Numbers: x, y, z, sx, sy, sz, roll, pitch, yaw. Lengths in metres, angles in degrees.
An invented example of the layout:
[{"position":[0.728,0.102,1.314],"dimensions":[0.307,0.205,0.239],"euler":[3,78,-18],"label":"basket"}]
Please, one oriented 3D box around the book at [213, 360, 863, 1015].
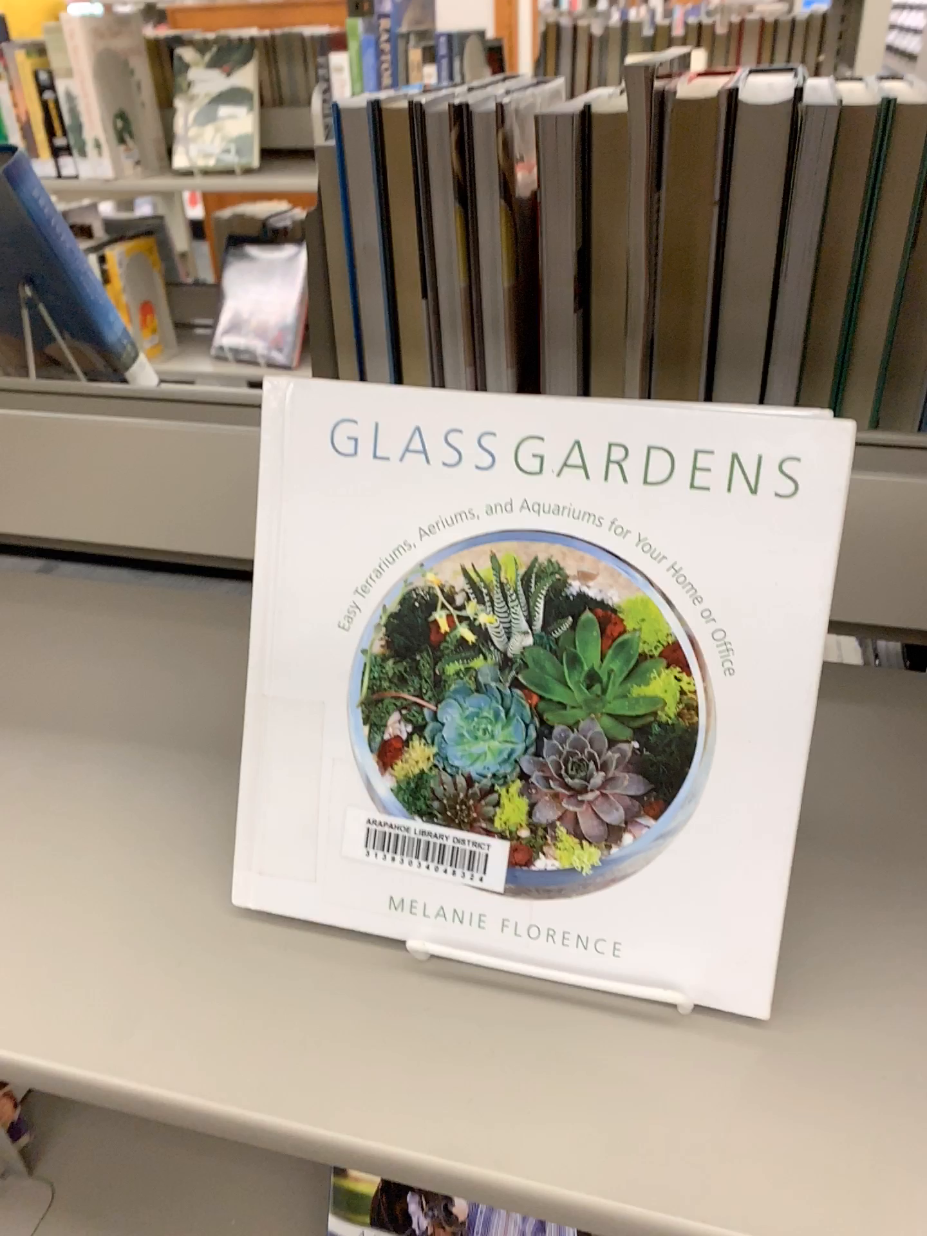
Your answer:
[{"position":[0.014,0.015,0.297],"dimensions":[0.180,0.174,0.030],"euler":[6,9,14],"label":"book"}]
